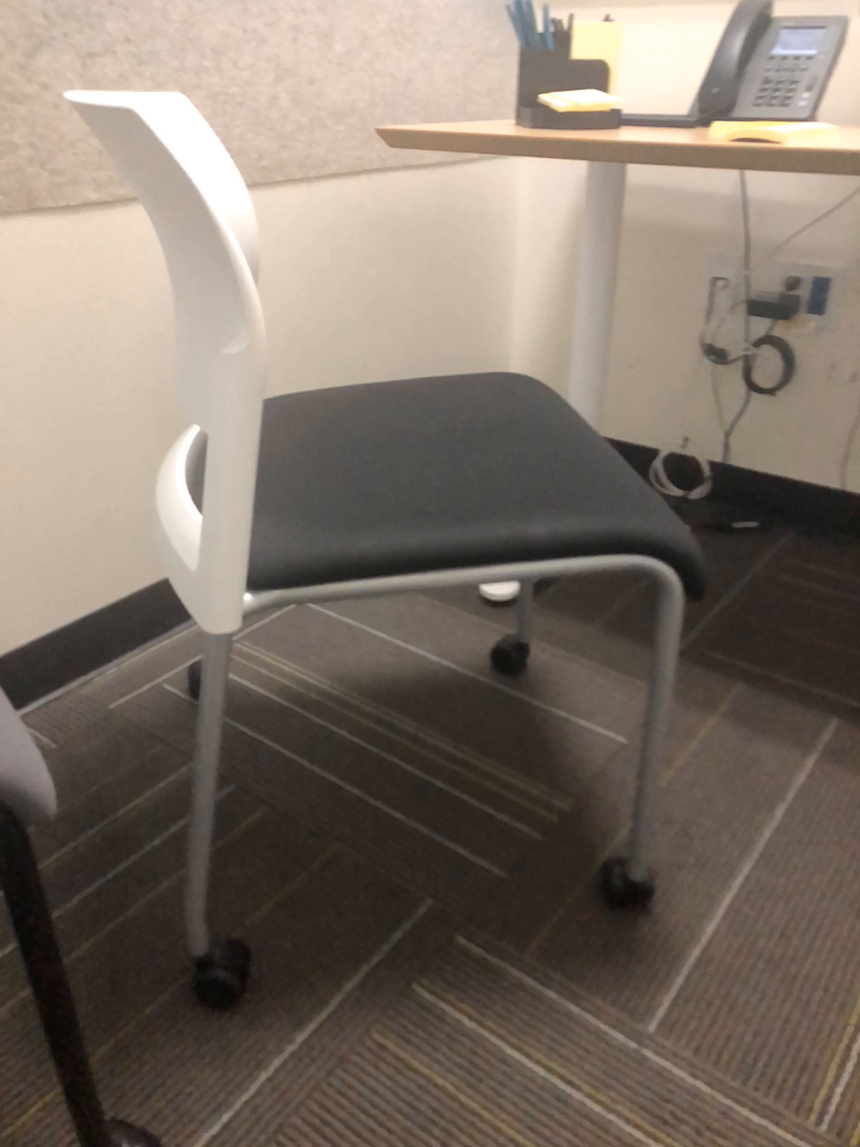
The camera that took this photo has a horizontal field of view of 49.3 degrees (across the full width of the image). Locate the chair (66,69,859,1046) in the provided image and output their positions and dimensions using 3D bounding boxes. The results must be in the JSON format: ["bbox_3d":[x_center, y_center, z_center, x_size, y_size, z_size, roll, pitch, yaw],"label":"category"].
[{"bbox_3d":[-0.064,-0.084,1.230,0.651,0.963,0.704,-4,27,-16],"label":"chair"}]

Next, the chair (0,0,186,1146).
[{"bbox_3d":[-0.673,0.134,0.734,0.653,0.933,0.702,-15,31,-33],"label":"chair"}]
